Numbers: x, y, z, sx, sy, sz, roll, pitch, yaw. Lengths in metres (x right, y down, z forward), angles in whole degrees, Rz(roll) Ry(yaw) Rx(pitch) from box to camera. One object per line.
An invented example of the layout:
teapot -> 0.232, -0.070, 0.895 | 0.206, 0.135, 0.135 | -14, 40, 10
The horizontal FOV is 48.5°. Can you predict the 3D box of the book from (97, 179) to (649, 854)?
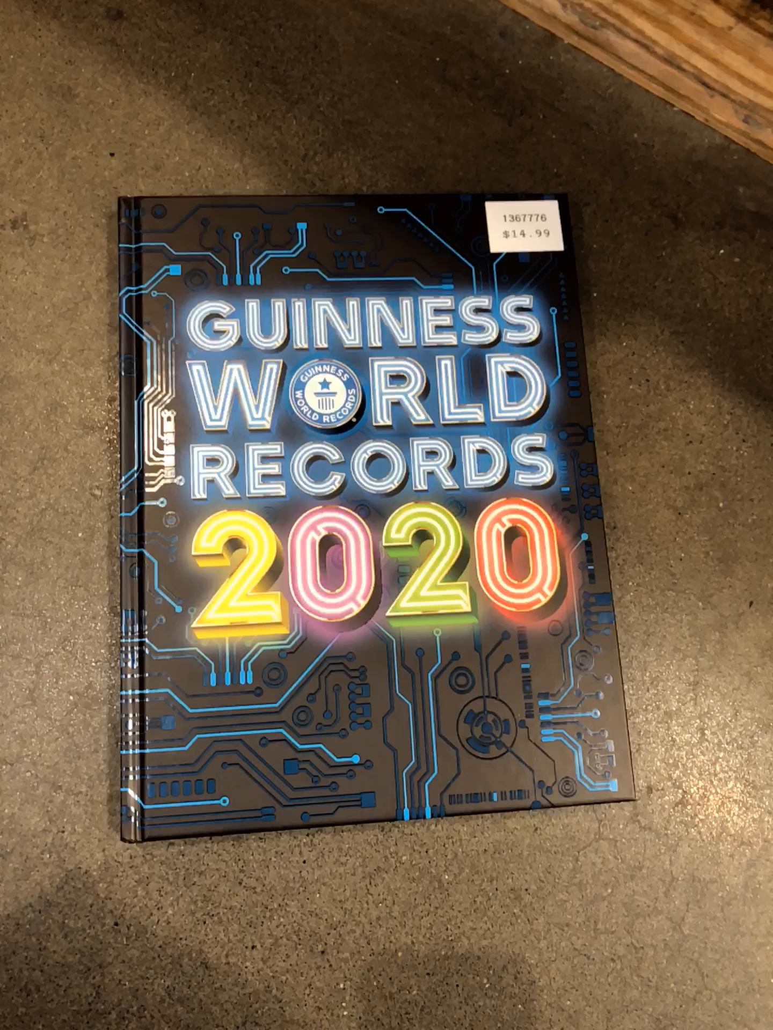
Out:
book -> -0.013, -0.013, 0.416 | 0.240, 0.030, 0.312 | -3, 79, -6
